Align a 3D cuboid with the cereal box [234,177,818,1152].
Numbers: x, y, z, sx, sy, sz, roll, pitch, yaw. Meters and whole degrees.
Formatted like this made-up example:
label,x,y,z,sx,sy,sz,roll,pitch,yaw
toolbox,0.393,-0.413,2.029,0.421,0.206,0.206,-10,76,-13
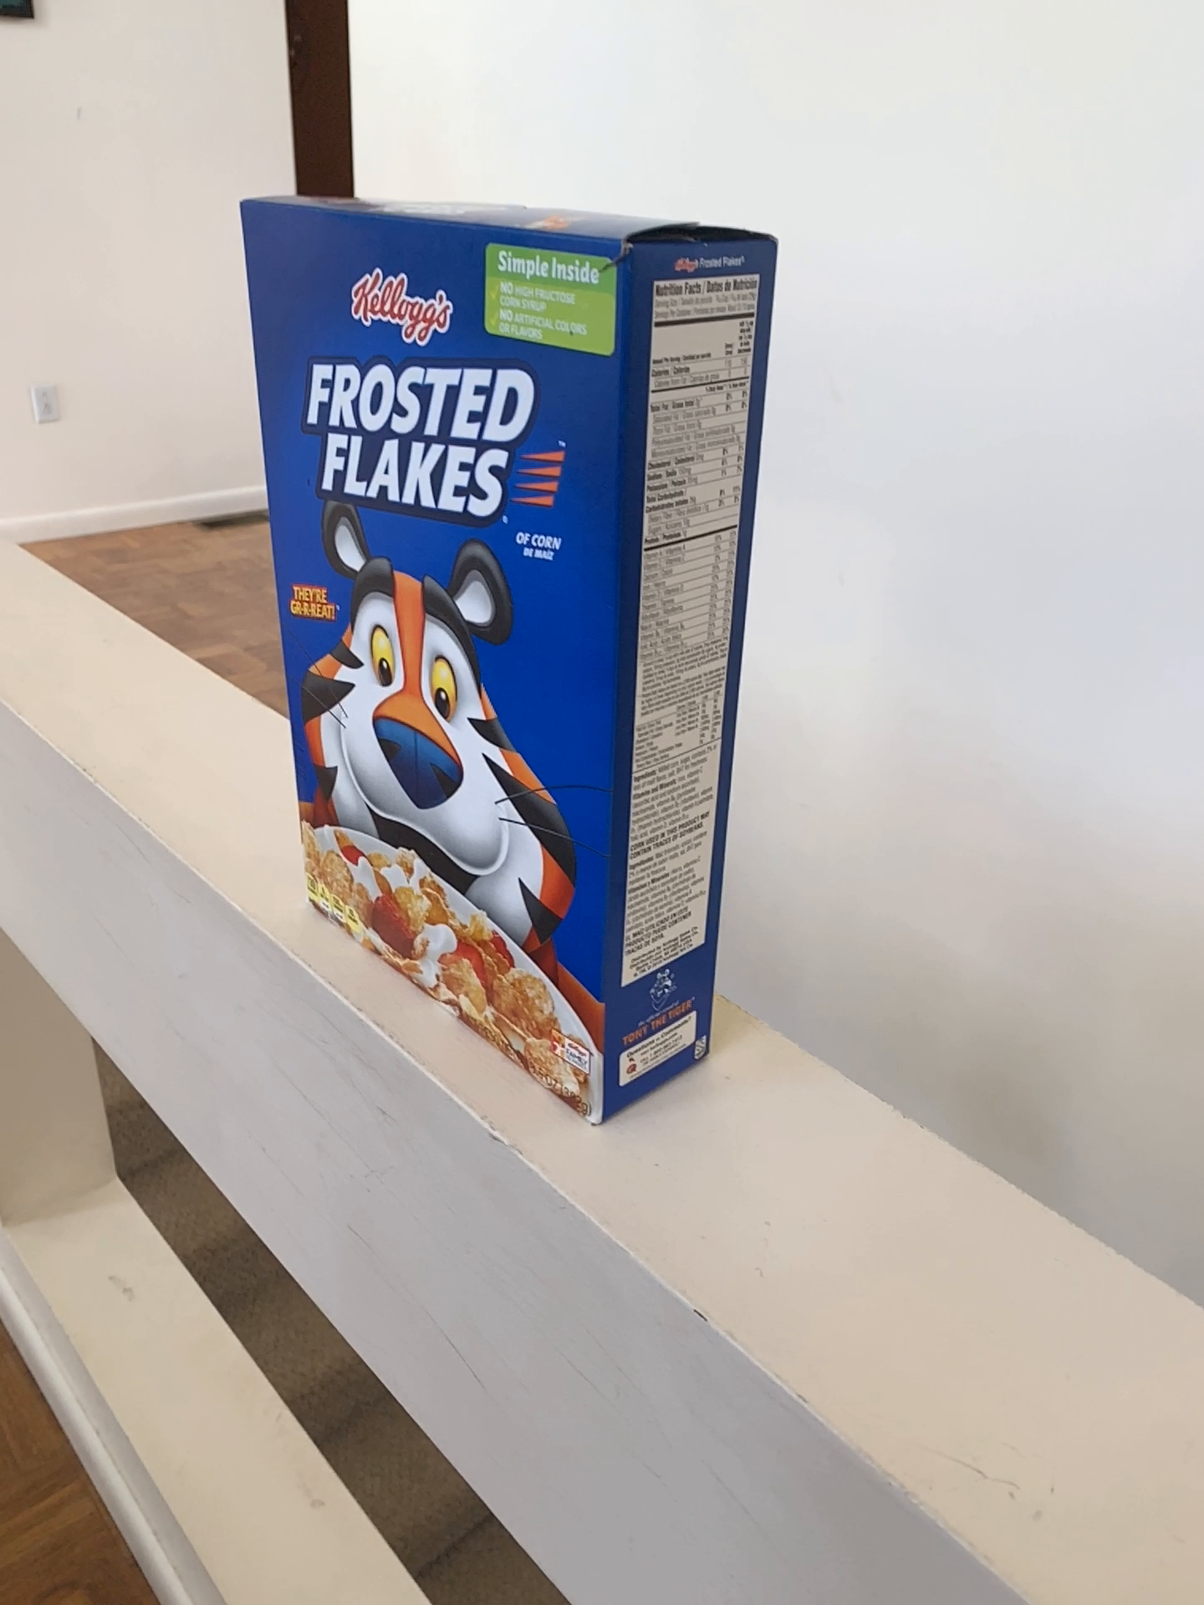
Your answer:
label,x,y,z,sx,sy,sz,roll,pitch,yaw
cereal box,-0.037,-0.054,0.435,0.060,0.288,0.201,-22,36,-37
